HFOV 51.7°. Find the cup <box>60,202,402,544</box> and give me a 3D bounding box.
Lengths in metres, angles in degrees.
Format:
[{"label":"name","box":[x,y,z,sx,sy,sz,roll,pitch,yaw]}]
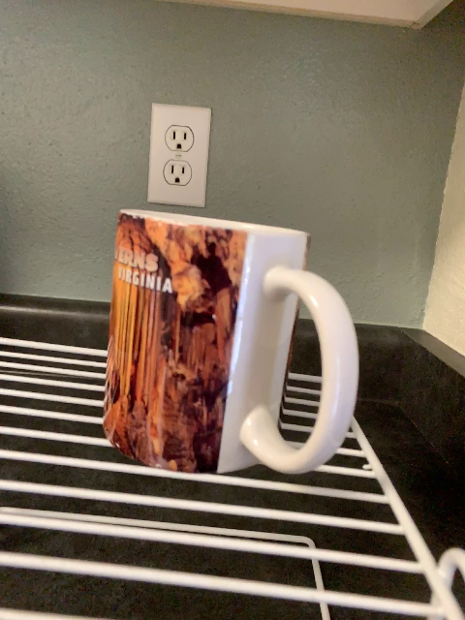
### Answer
[{"label":"cup","box":[-0.013,0.008,0.198,0.080,0.090,0.120,-3,14,-35]}]
